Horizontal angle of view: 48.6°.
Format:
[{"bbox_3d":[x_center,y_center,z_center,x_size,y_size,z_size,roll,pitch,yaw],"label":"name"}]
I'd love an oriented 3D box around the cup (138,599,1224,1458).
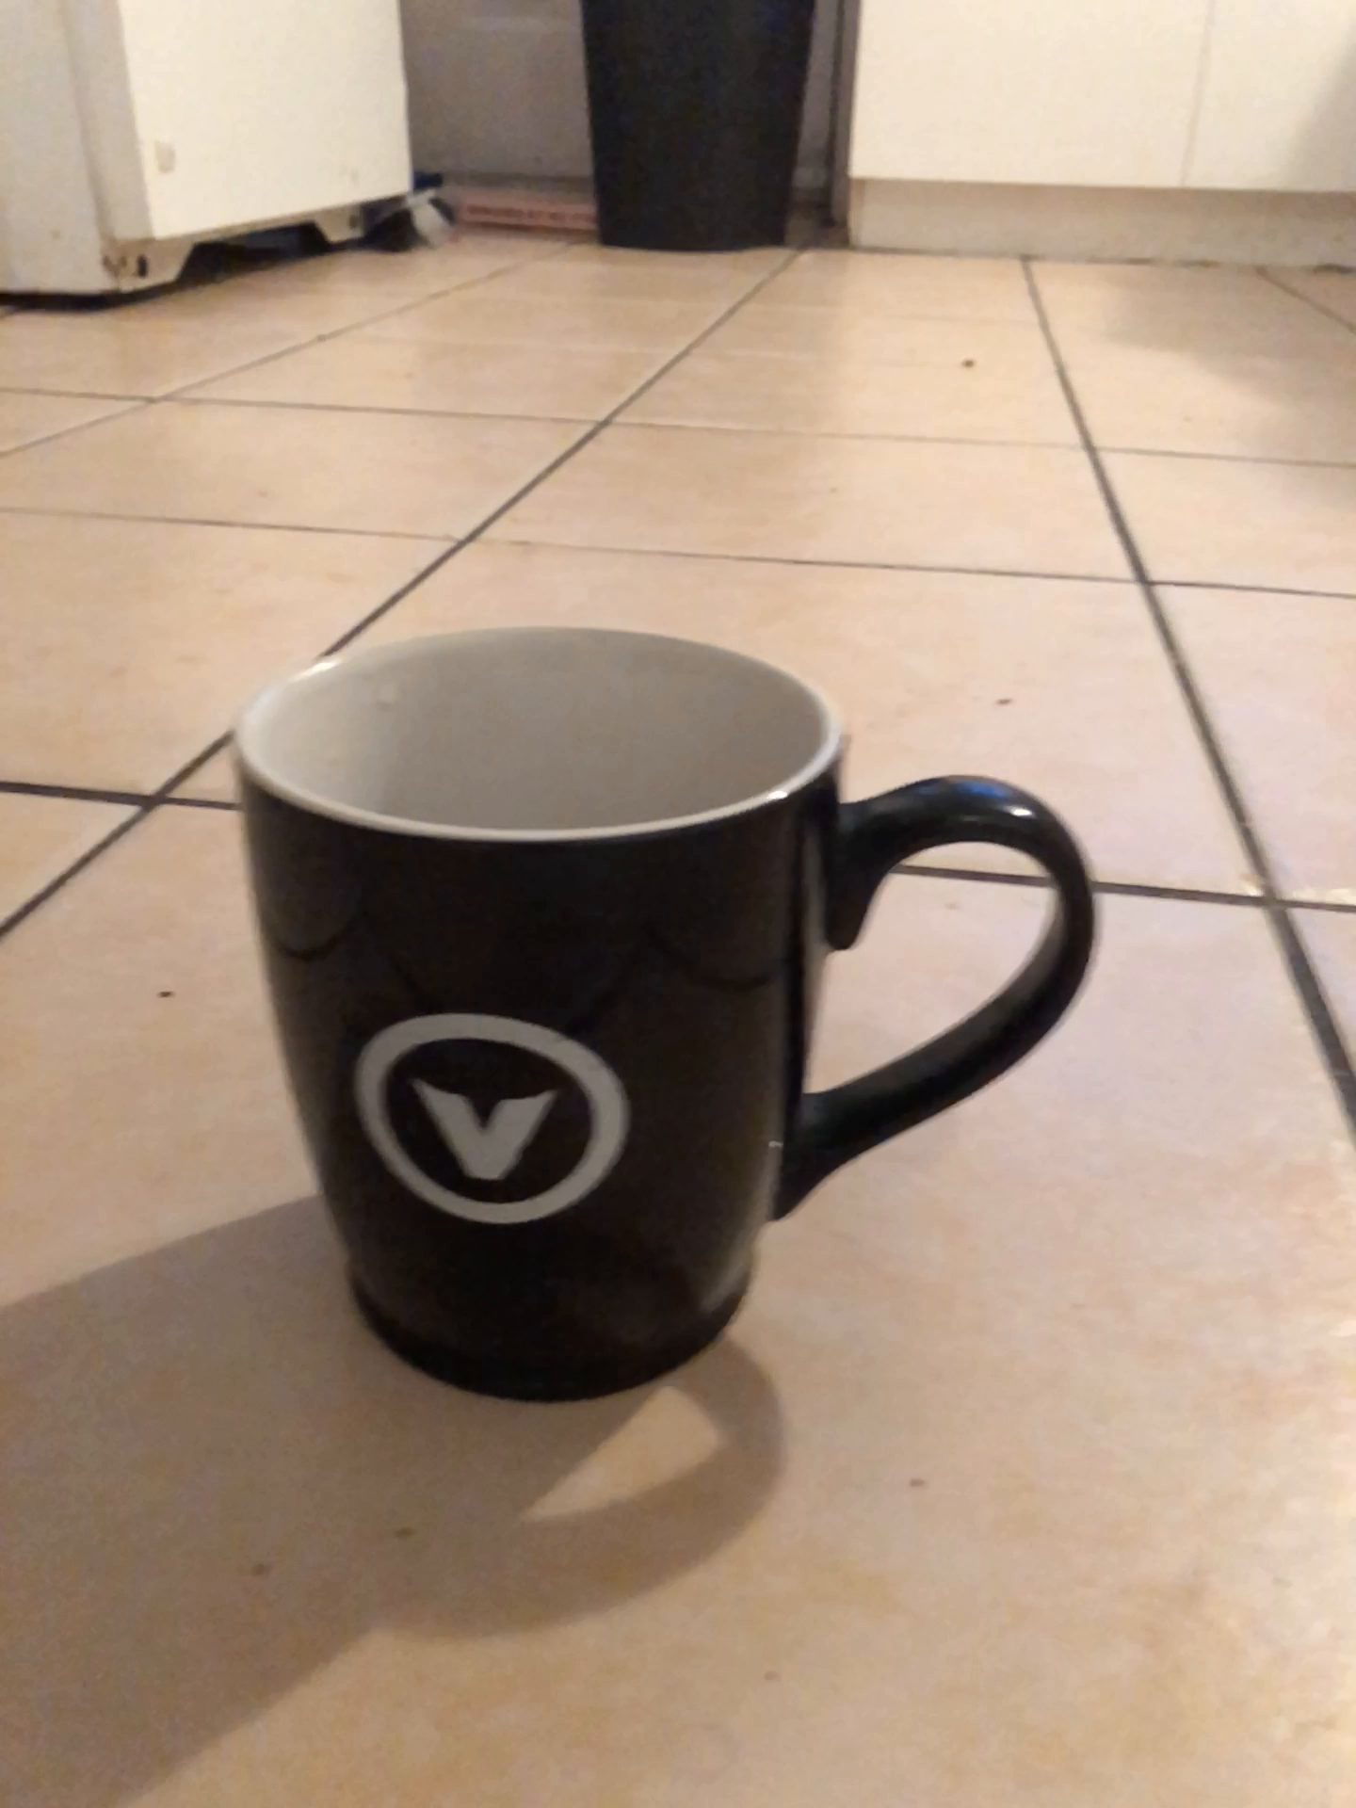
[{"bbox_3d":[0.001,0.014,0.260,0.140,0.100,0.101,4,27,3],"label":"cup"}]
